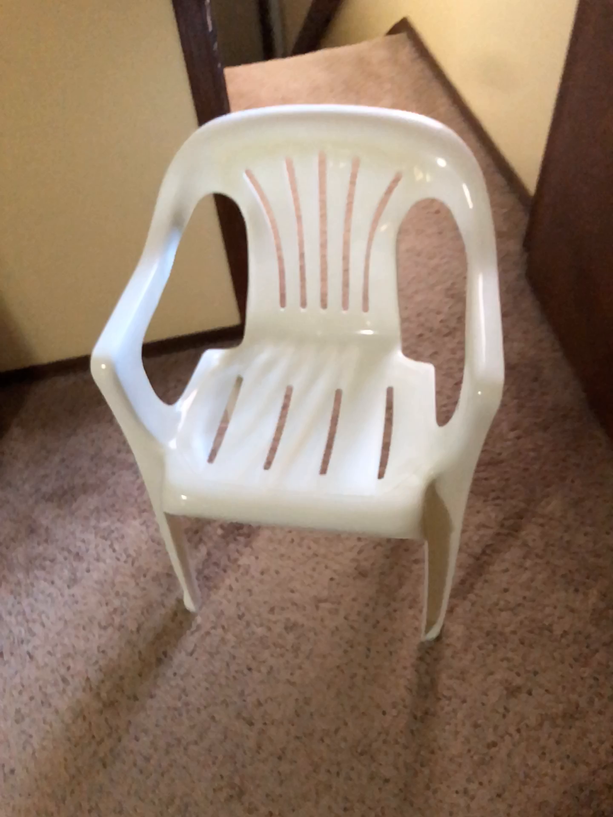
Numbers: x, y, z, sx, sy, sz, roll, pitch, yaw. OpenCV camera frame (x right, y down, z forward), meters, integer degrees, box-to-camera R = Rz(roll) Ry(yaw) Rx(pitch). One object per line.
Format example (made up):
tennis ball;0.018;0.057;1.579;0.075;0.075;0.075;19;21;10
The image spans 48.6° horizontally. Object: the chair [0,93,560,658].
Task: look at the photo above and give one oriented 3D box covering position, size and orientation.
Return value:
chair;-0.007;-0.001;1.073;0.580;0.769;0.470;4;53;8
